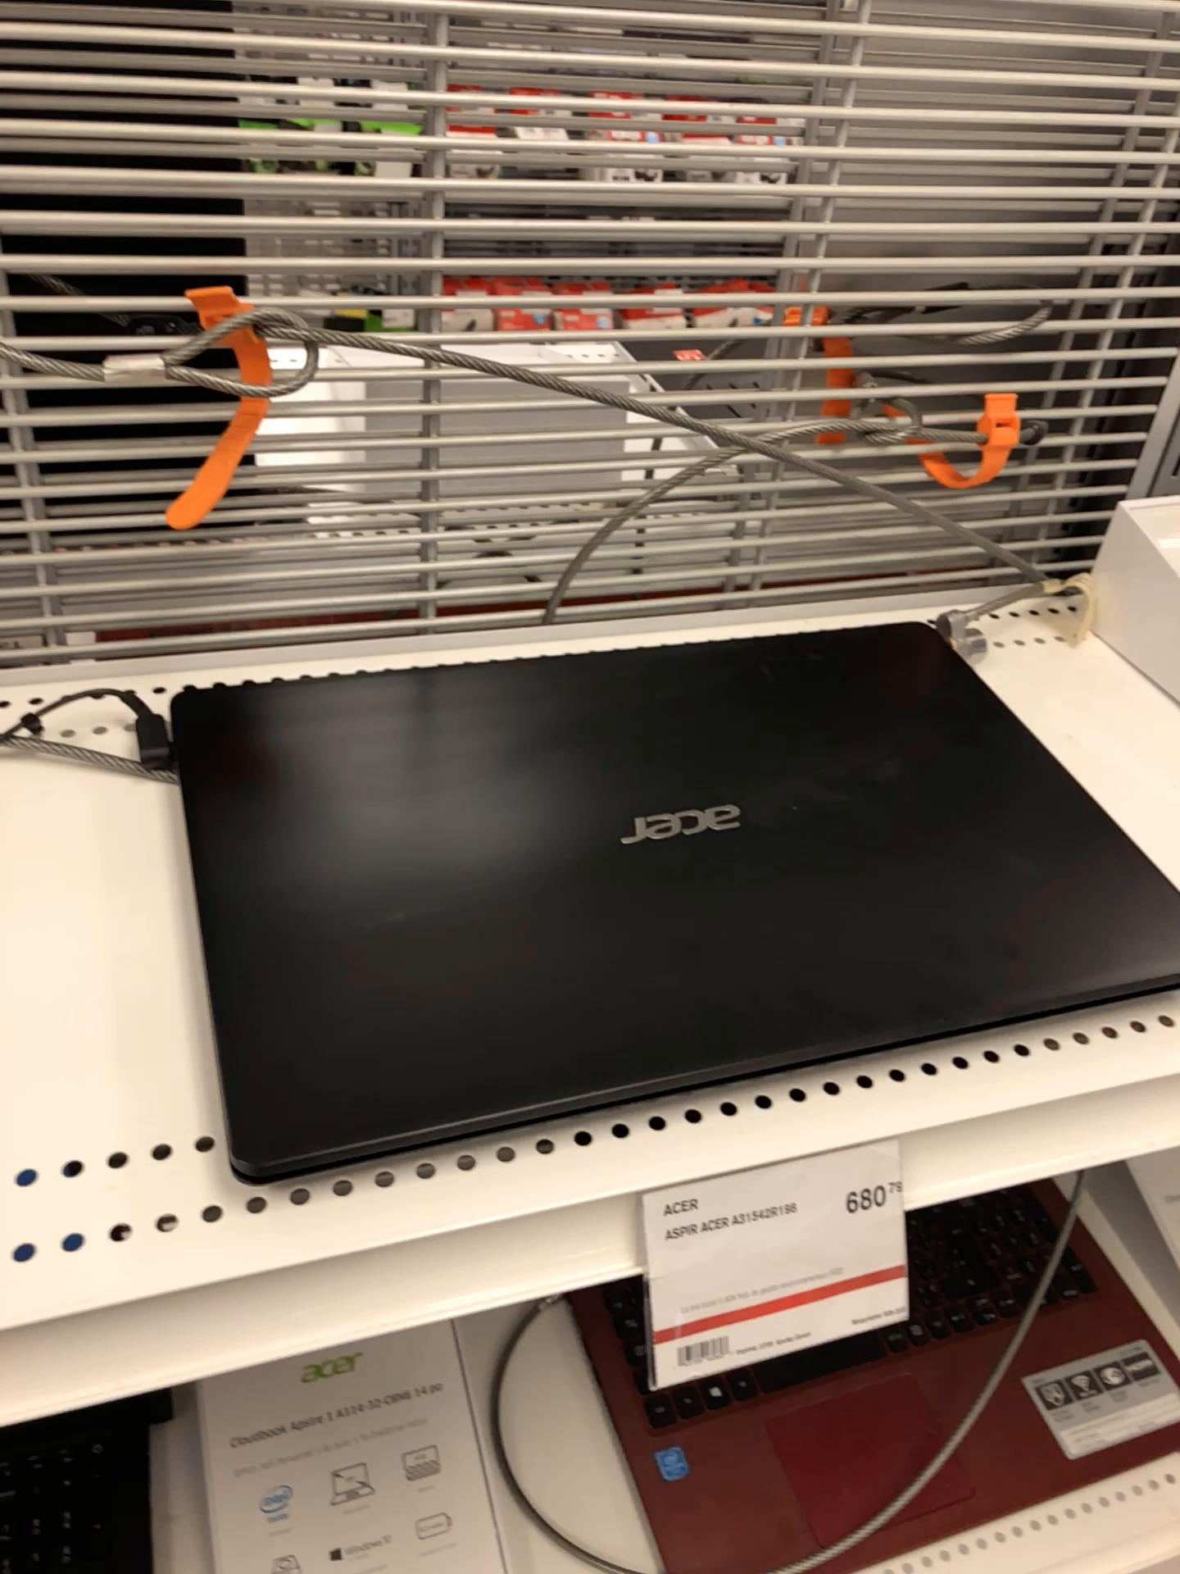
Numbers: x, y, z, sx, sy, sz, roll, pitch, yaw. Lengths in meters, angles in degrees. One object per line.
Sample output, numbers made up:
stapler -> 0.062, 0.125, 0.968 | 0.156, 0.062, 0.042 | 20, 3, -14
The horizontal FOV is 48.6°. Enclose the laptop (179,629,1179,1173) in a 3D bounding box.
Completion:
laptop -> 0.032, 0.016, 0.514 | 0.355, 0.006, 0.232 | -7, 40, -19
